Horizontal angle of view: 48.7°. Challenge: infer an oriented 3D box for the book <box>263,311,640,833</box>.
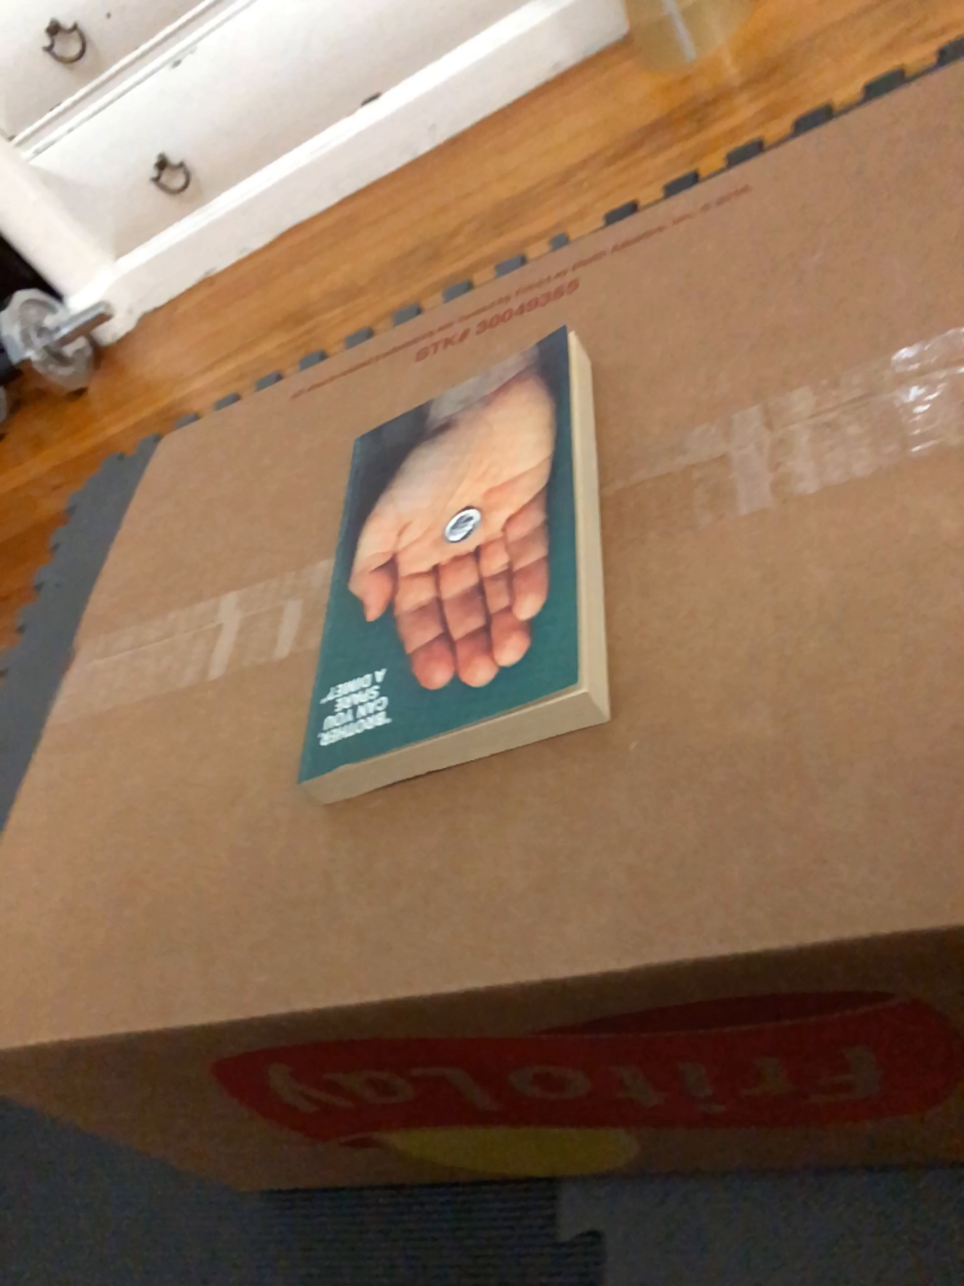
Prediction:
[{"bbox_3d":[-0.010,-0.031,0.375,0.120,0.020,0.181,-20,46,24],"label":"book"}]
